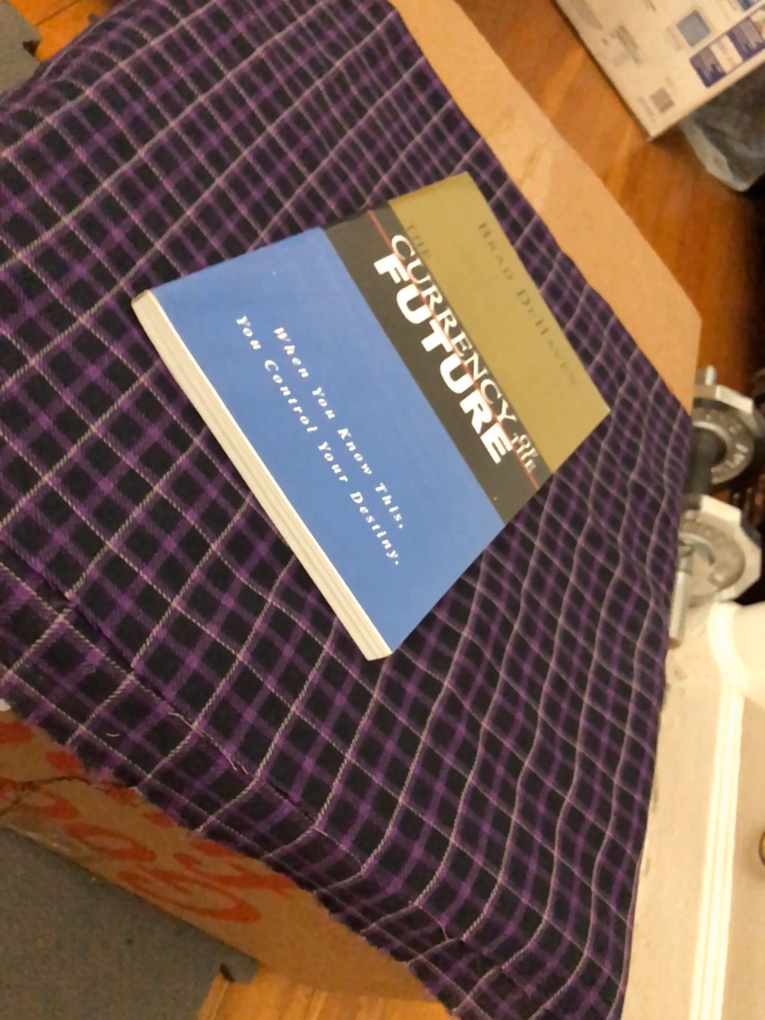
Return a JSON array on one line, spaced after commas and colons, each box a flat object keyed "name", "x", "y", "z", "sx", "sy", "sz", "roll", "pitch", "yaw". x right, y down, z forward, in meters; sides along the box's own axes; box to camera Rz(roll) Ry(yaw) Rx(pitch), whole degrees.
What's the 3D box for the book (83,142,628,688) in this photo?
[{"name": "book", "x": 0.015, "y": -0.058, "z": 0.340, "sx": 0.150, "sy": 0.020, "sz": 0.221, "roll": 57, "pitch": 44, "yaw": -7}]
